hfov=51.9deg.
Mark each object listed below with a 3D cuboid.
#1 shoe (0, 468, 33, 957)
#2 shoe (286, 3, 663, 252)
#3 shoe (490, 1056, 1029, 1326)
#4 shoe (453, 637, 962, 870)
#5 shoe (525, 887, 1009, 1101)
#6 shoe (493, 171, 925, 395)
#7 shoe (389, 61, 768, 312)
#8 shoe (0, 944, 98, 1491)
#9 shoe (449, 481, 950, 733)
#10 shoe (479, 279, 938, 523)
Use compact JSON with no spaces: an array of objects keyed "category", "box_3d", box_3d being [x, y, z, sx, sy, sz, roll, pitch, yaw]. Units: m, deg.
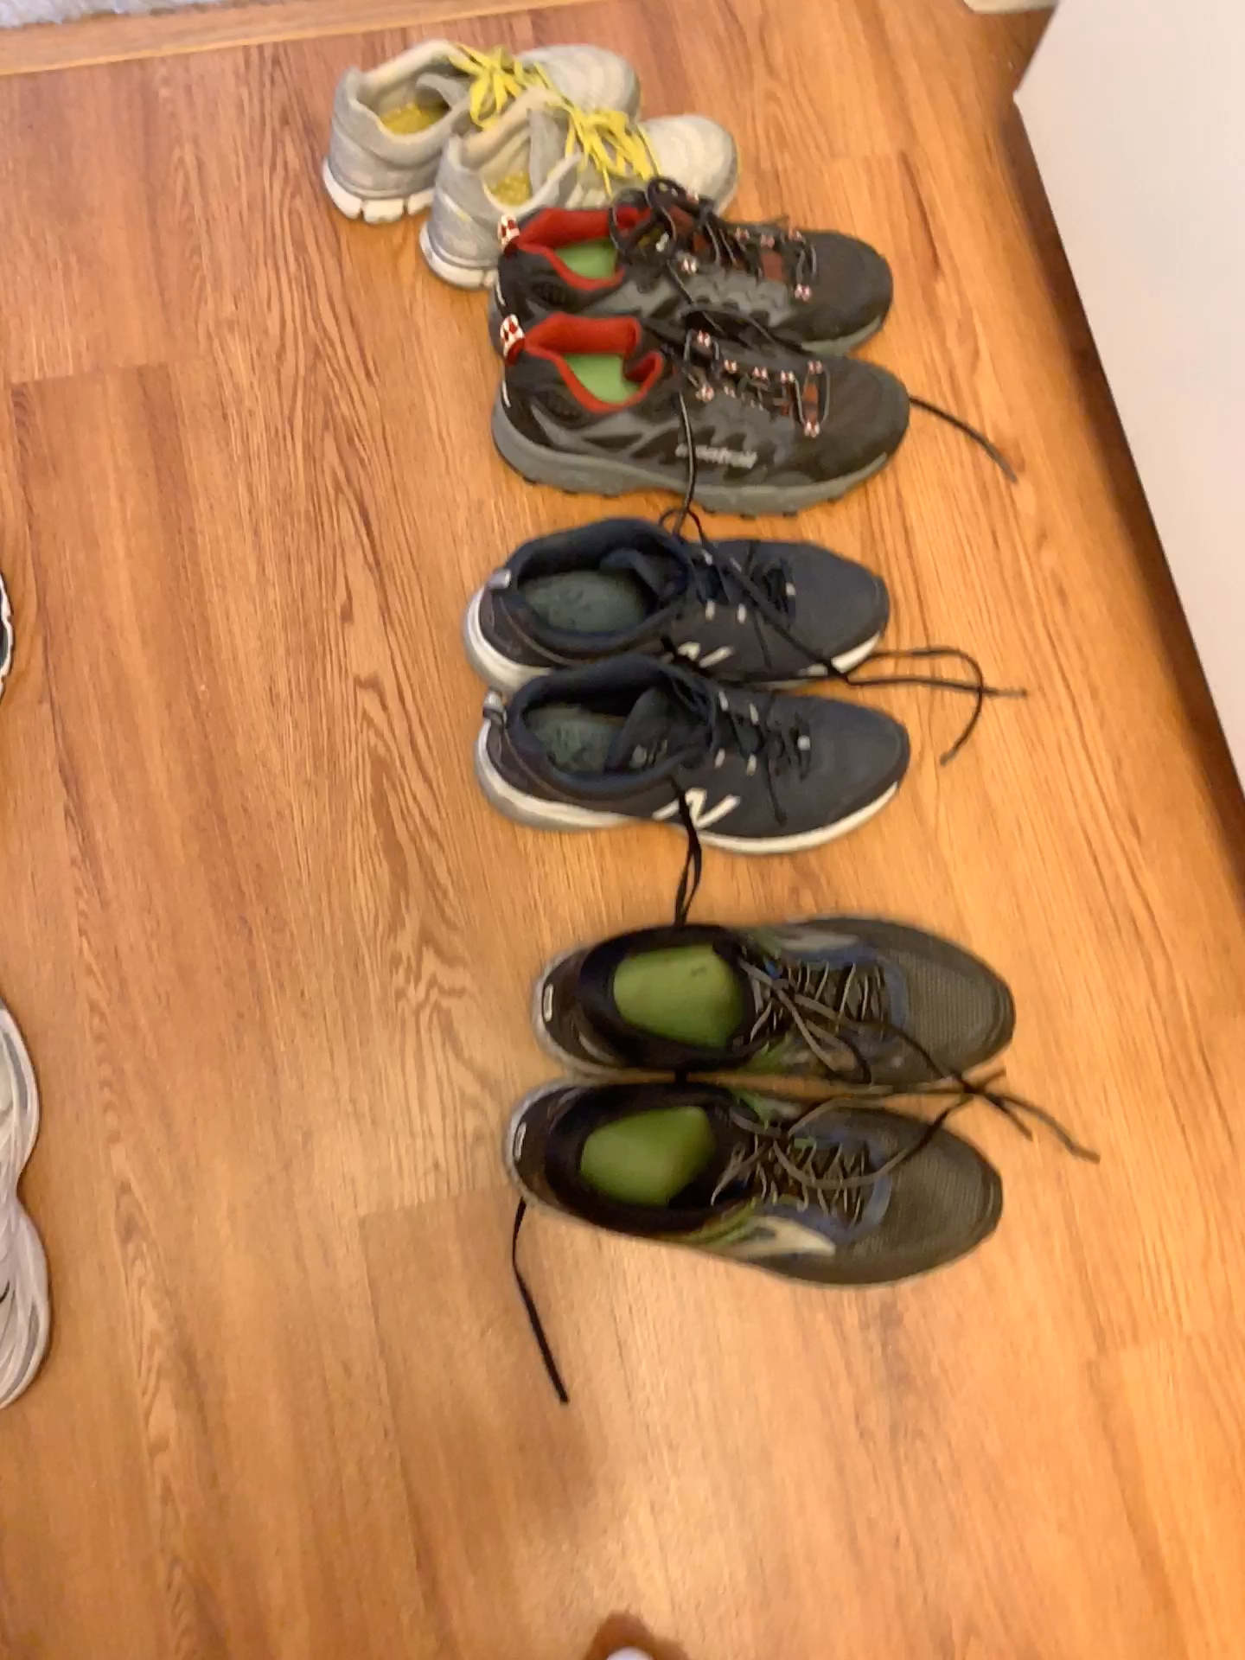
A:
[{"category":"shoe","box_3d":[-0.475,-0.074,0.815,0.110,0.080,0.290,6,76,-3]},{"category":"shoe","box_3d":[-0.112,-0.547,0.999,0.270,0.080,0.080,-20,79,-9]},{"category":"shoe","box_3d":[0.081,0.225,0.807,0.310,0.110,0.110,9,76,-2]},{"category":"shoe","box_3d":[0.050,-0.046,0.836,0.310,0.100,0.120,1,76,-4]},{"category":"shoe","box_3d":[0.086,0.110,0.826,0.290,0.110,0.110,4,76,-4]},{"category":"shoe","box_3d":[0.058,-0.397,0.937,0.300,0.090,0.100,2,76,-4]},{"category":"shoe","box_3d":[-0.033,-0.494,0.986,0.270,0.080,0.080,-20,79,-9]},{"category":"shoe","box_3d":[-0.407,0.215,0.748,0.110,0.130,0.260,-14,78,-8]},{"category":"shoe","box_3d":[0.046,-0.148,0.863,0.310,0.100,0.120,-4,77,-5]},{"category":"shoe","box_3d":[0.057,-0.303,0.916,0.310,0.090,0.120,2,76,-4]}]
